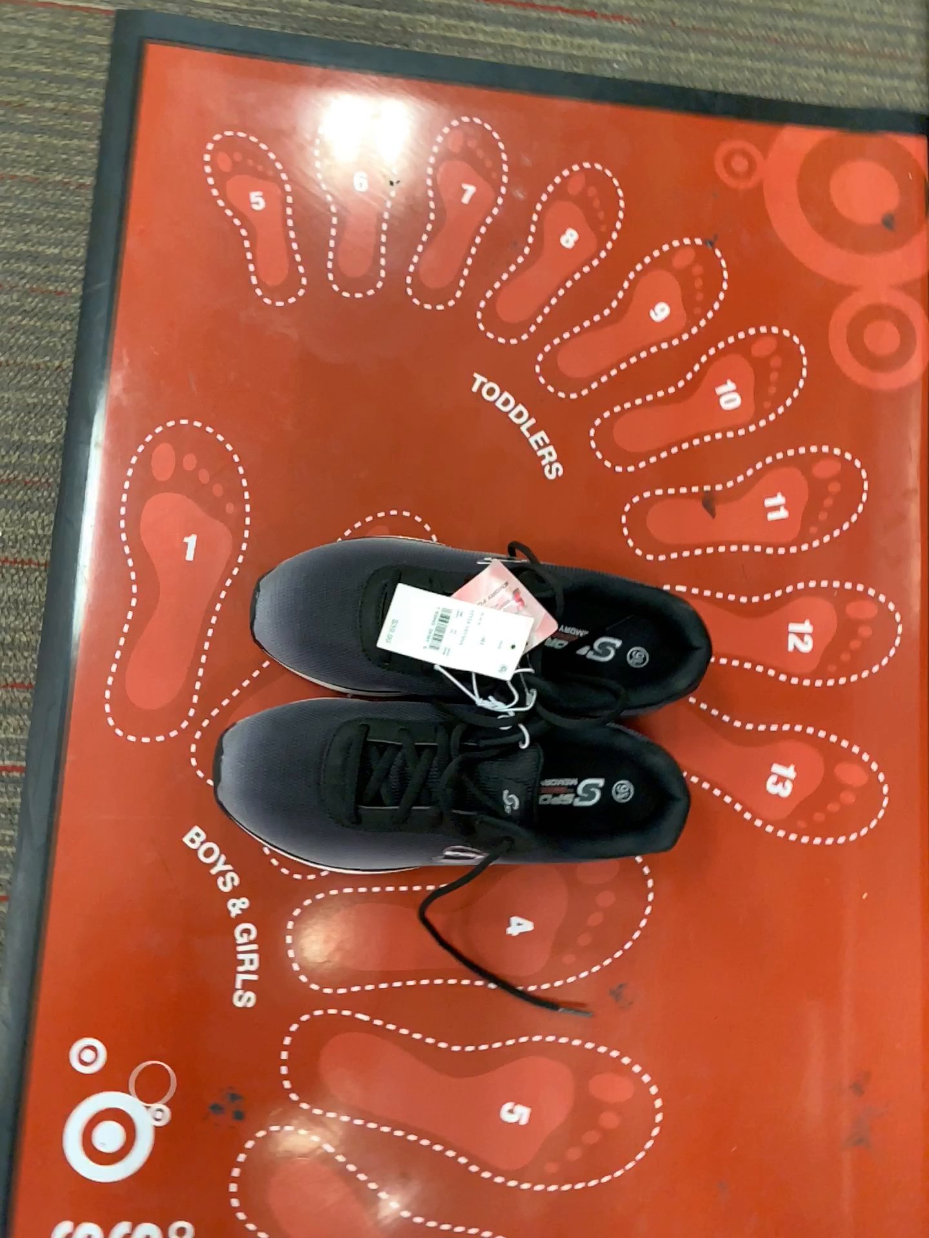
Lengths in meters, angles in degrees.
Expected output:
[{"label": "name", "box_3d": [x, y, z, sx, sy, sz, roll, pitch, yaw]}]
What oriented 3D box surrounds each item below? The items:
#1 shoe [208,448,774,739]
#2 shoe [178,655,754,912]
[{"label": "shoe", "box_3d": [0.013, -0.005, 0.502, 0.260, 0.100, 0.100, 9, 82, -5]}, {"label": "shoe", "box_3d": [0.001, 0.083, 0.488, 0.260, 0.100, 0.100, 5, 82, -6]}]
